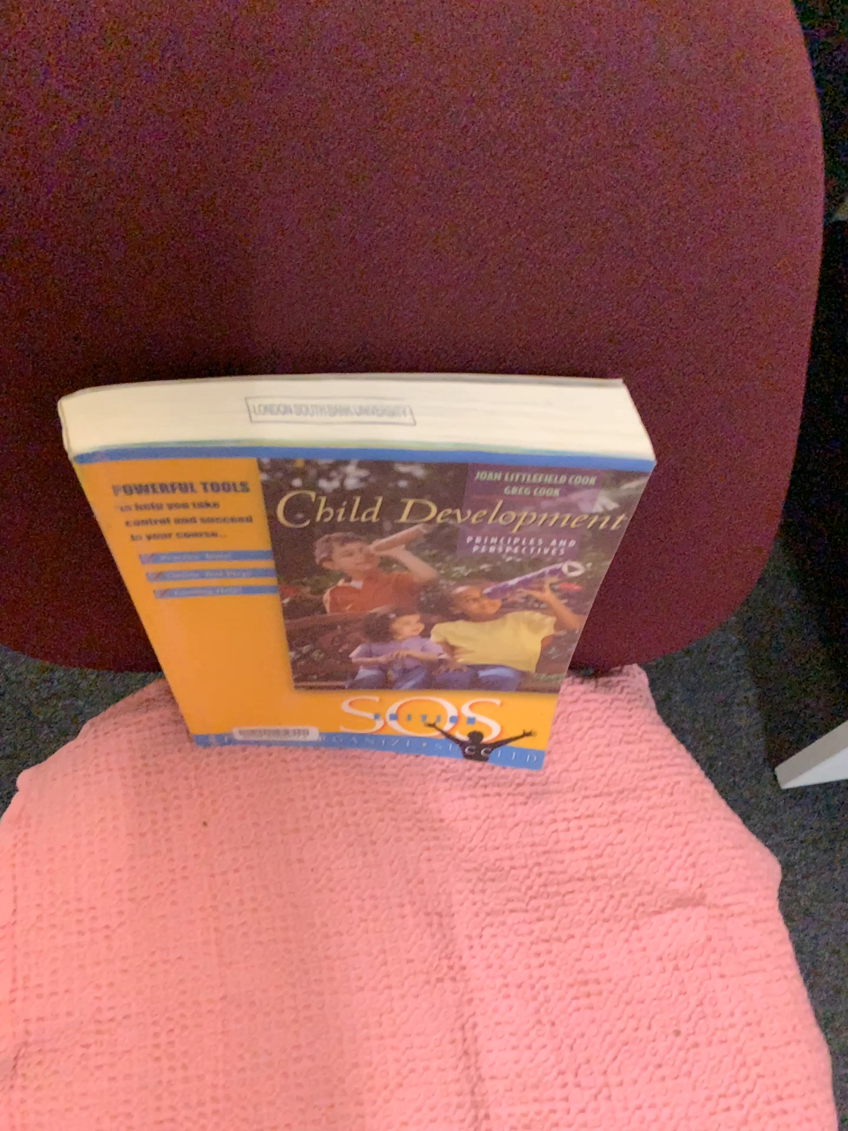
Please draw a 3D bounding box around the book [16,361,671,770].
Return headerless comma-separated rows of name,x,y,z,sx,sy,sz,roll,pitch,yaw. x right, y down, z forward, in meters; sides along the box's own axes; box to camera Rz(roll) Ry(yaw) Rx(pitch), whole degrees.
book,-0.032,0.022,0.417,0.225,0.258,0.050,0,53,-3
